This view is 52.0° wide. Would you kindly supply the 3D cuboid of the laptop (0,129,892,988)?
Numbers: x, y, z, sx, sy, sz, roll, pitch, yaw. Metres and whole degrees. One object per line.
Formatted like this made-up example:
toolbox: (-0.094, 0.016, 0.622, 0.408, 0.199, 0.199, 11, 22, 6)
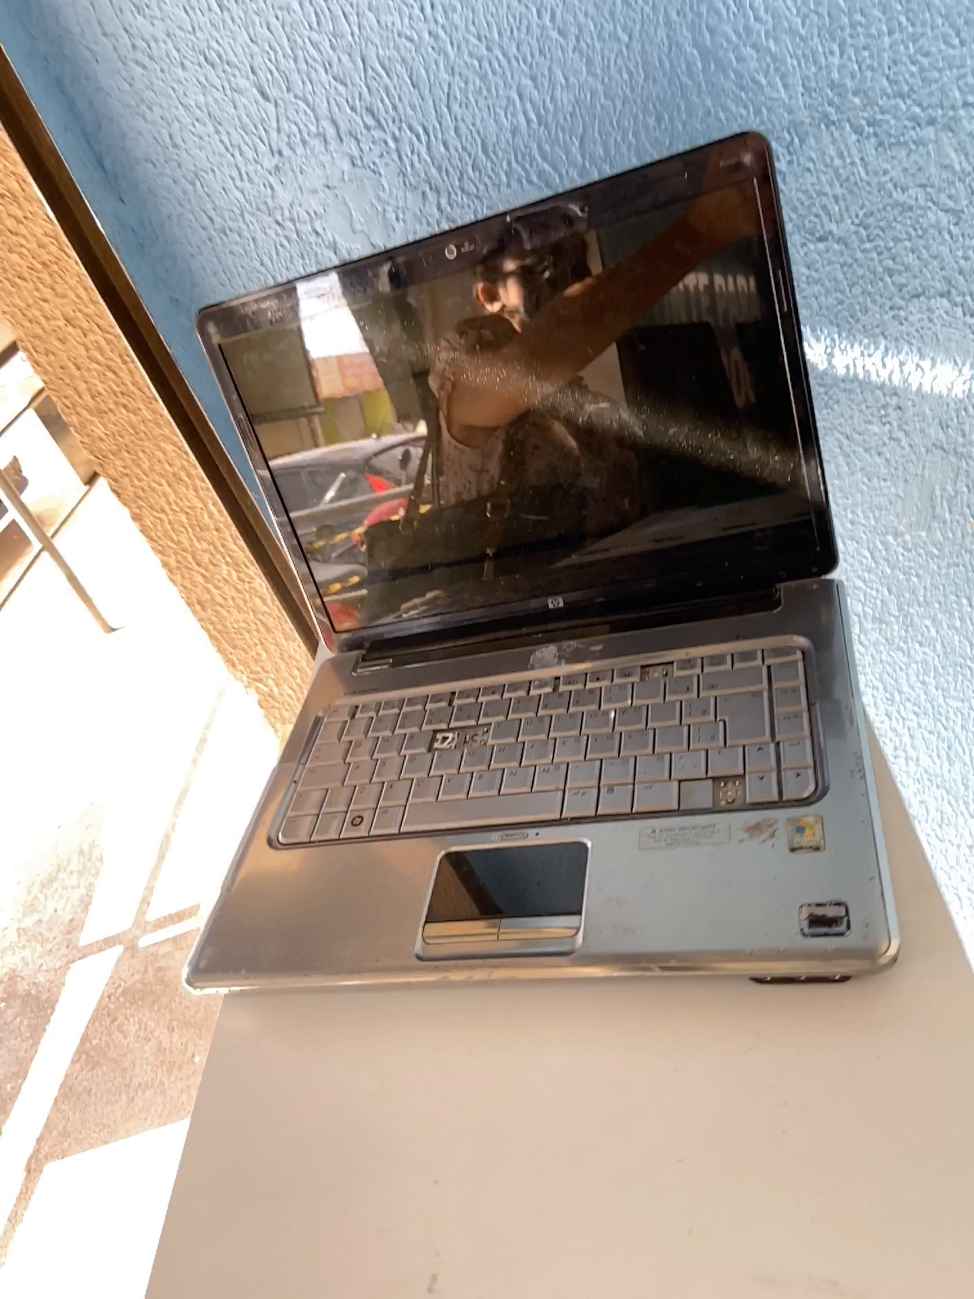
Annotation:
laptop: (-0.011, -0.045, 0.518, 0.351, 0.233, 0.330, -9, 38, 20)
